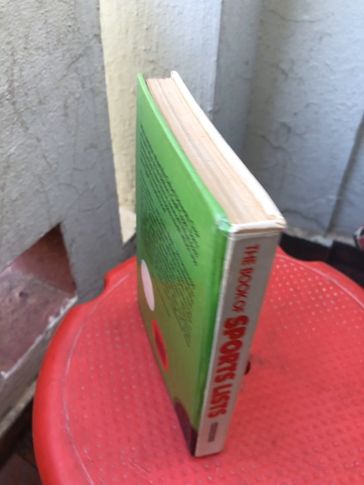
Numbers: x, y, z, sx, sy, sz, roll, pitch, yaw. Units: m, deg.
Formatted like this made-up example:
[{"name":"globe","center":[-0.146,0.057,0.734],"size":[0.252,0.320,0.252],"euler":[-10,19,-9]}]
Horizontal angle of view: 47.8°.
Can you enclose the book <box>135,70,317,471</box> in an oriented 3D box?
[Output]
[{"name":"book","center":[0.006,0.026,0.270],"size":[0.030,0.219,0.151],"euler":[-11,43,-16]}]
